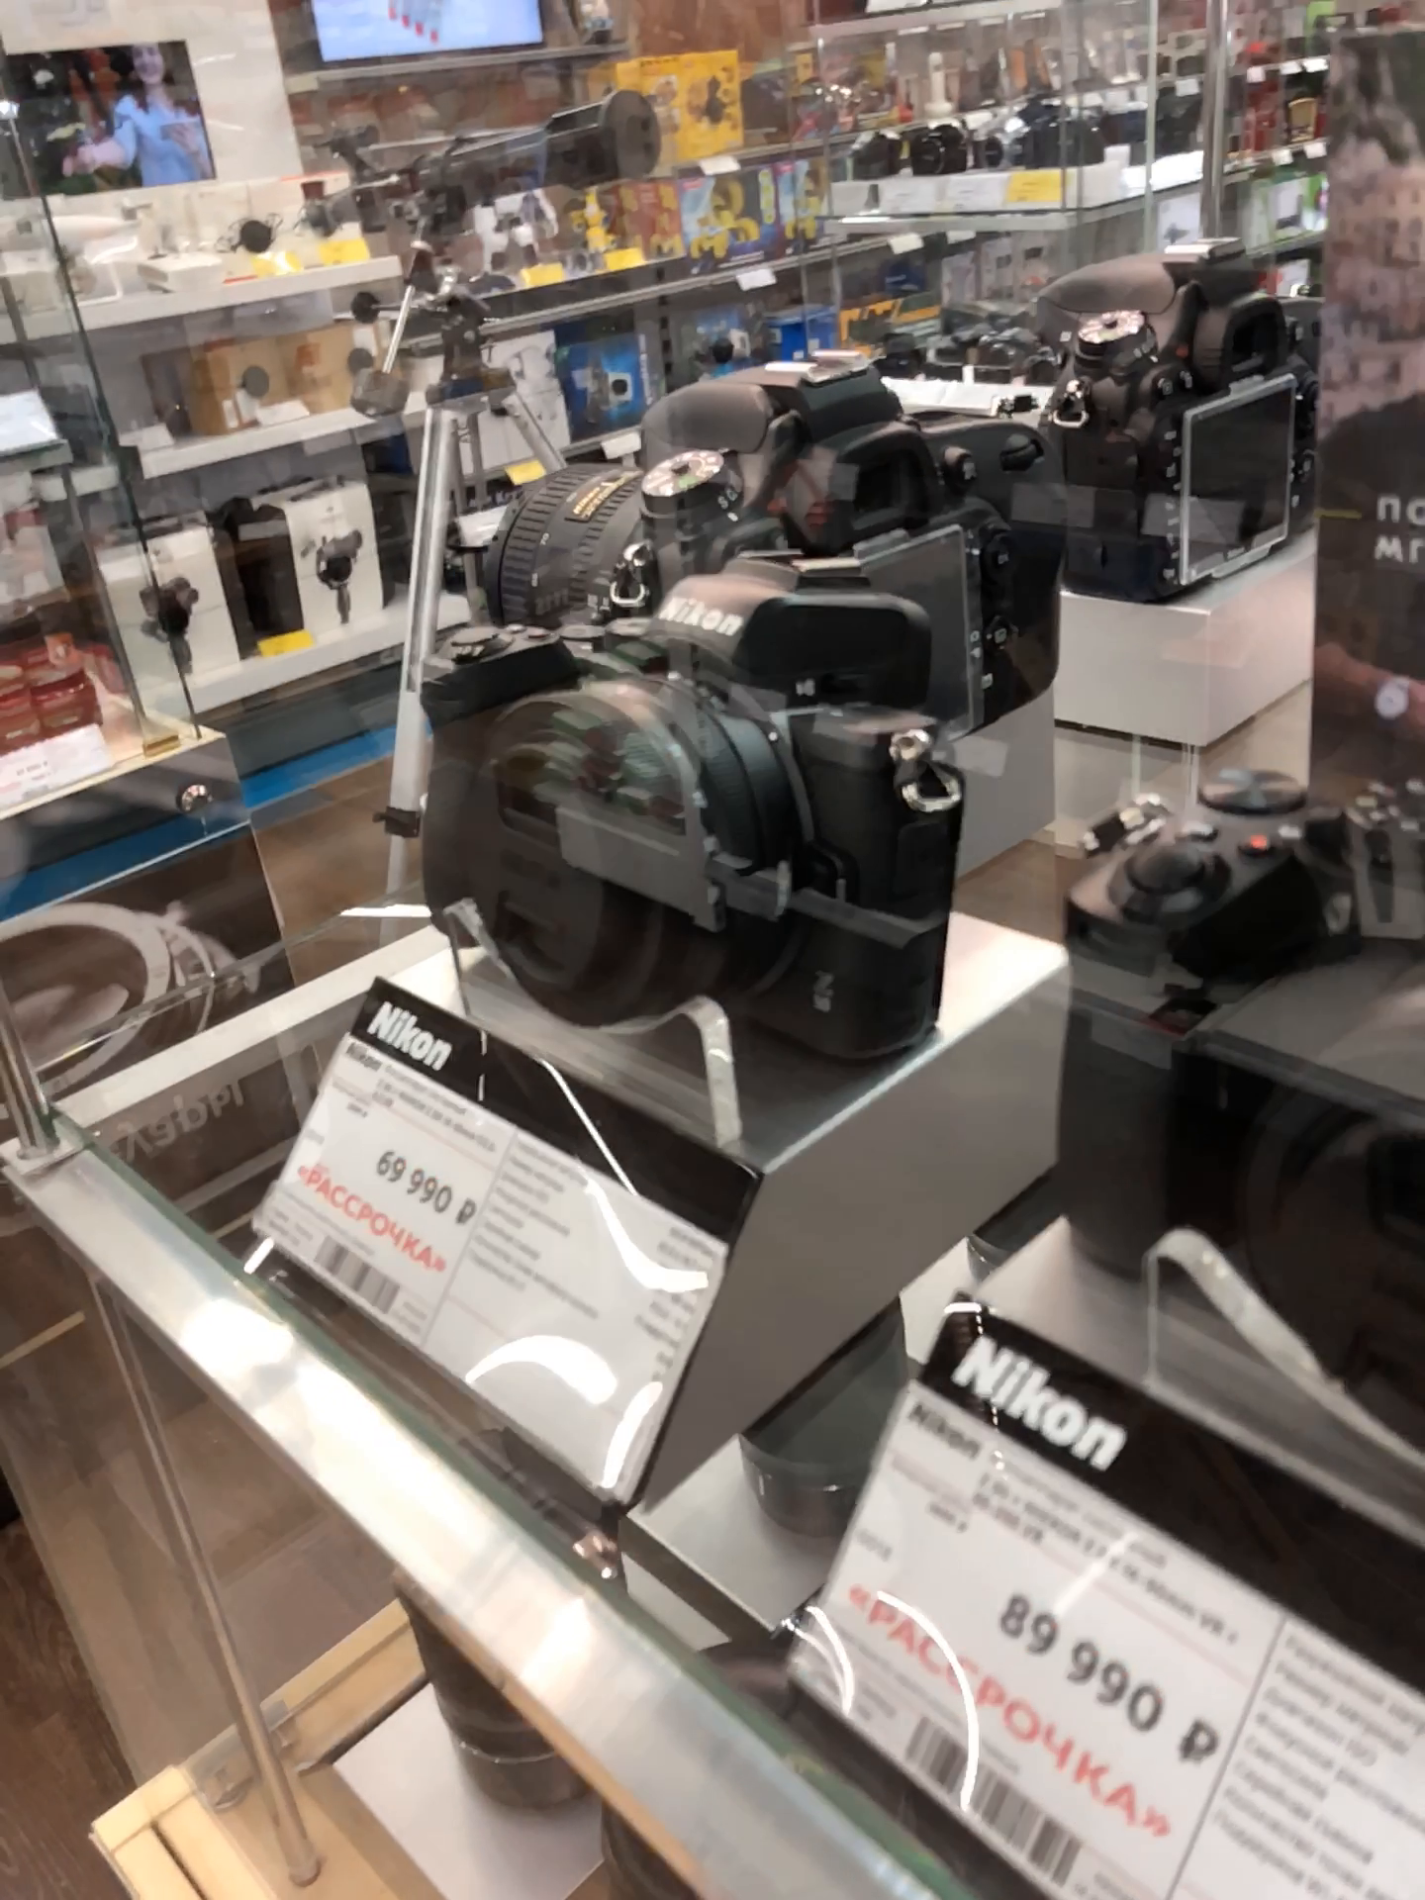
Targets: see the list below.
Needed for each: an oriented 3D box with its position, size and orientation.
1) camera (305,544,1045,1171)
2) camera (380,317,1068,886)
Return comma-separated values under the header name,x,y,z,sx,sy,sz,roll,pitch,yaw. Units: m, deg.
name,x,y,z,sx,sy,sz,roll,pitch,yaw
camera,-0.013,-0.031,0.336,0.090,0.092,0.127,-16,27,-40
camera,0.004,-0.115,0.473,0.130,0.111,0.150,-27,37,-32
